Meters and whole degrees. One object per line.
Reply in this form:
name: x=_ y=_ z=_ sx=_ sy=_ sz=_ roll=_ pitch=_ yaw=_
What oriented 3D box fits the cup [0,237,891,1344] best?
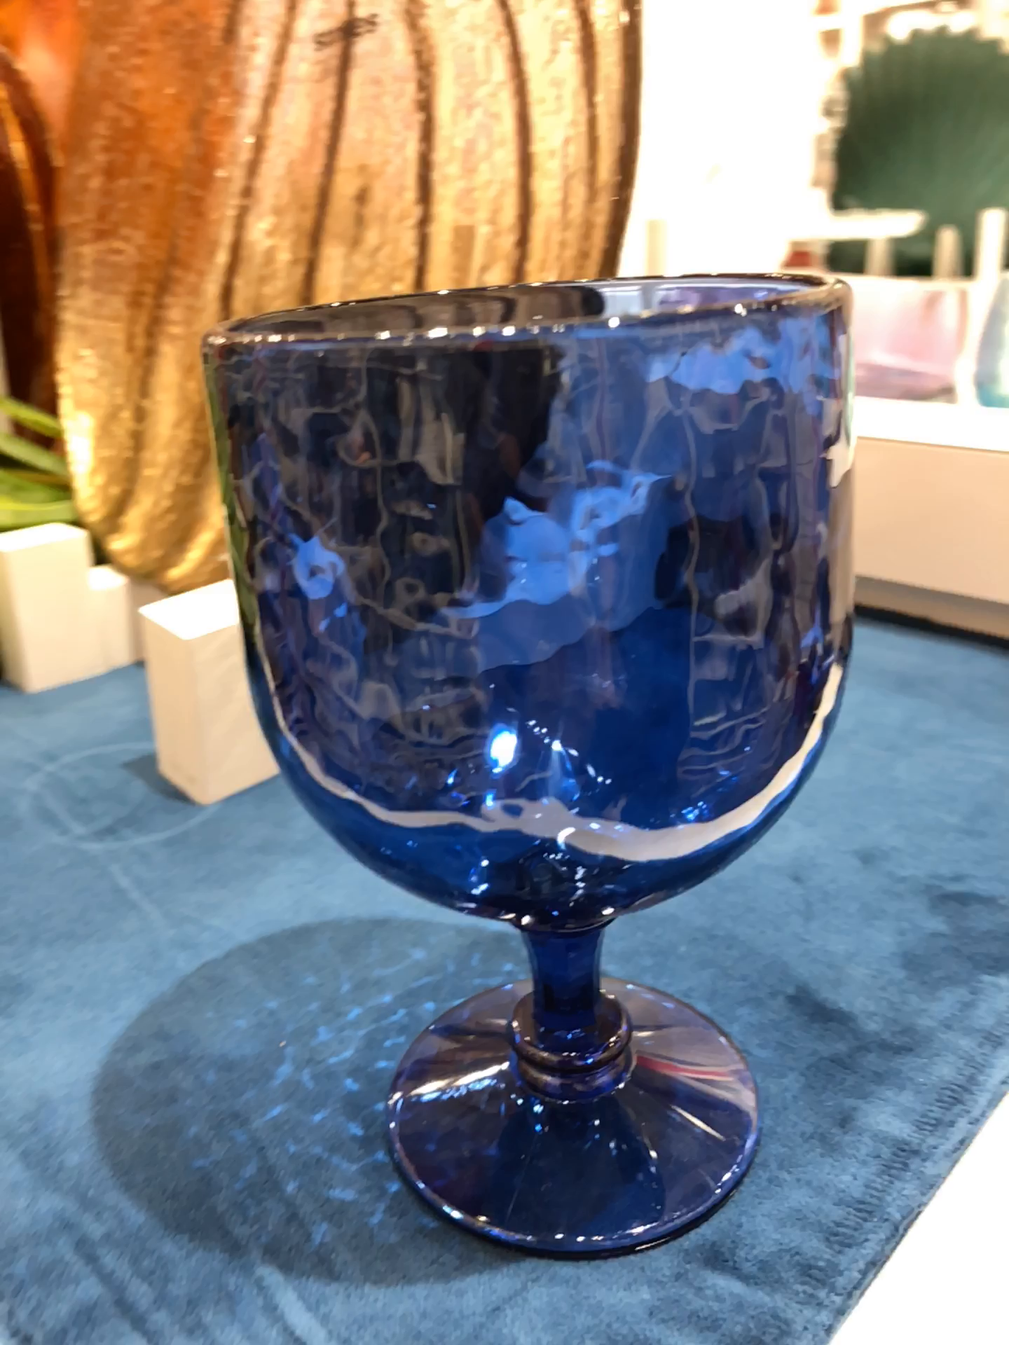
cup: x=0.002 y=0.012 z=0.173 sx=0.080 sy=0.139 sz=0.090 roll=9 pitch=25 yaw=28
